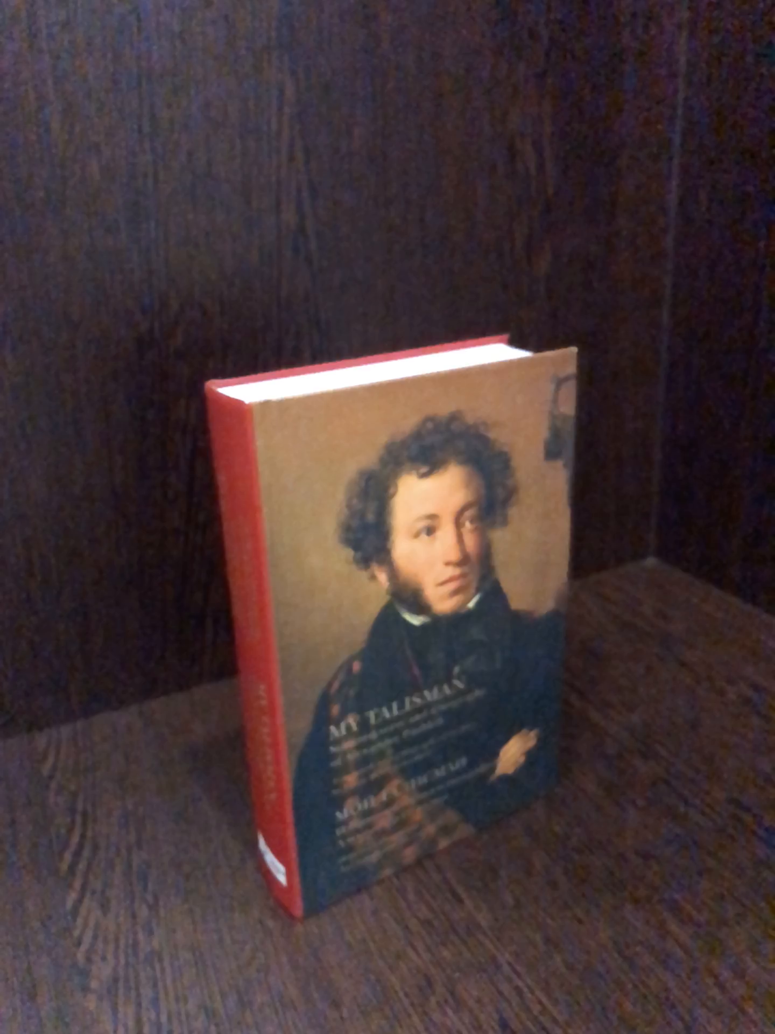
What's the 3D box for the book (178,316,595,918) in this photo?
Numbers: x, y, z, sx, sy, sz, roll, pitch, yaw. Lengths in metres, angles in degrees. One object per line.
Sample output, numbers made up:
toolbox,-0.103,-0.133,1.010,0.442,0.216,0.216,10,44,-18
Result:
book,0.004,0.034,0.342,0.137,0.201,0.054,-14,25,-28
